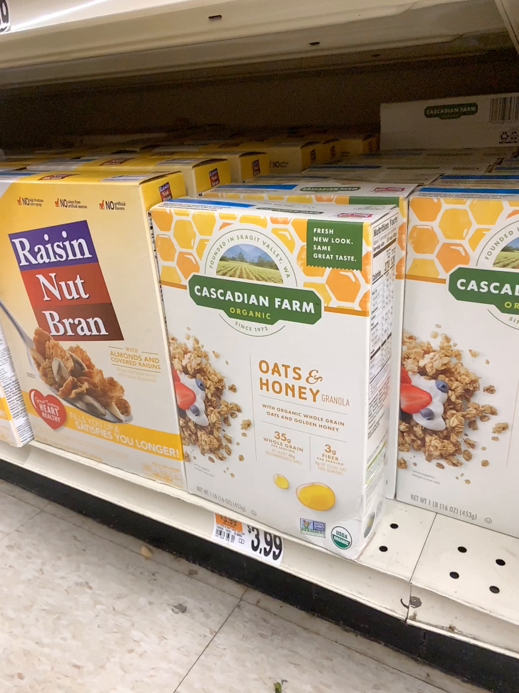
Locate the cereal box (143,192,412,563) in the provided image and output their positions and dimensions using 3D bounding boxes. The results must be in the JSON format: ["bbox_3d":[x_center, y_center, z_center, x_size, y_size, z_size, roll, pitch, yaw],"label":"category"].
[{"bbox_3d":[0.013,0.016,0.379,0.160,0.229,0.060,12,28,31],"label":"cereal box"}]
